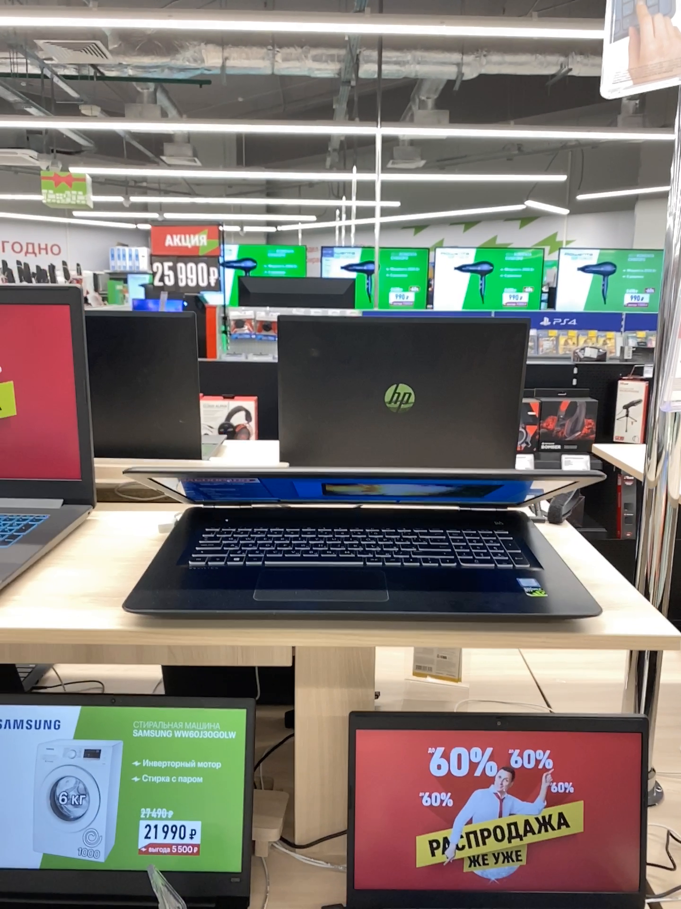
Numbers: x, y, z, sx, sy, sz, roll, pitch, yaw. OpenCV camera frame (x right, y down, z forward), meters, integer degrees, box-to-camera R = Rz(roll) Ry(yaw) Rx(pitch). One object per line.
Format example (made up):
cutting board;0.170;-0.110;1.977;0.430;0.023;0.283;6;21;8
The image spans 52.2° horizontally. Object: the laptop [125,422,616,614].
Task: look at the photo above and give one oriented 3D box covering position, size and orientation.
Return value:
laptop;0.020;0.047;0.699;0.396;0.103;0.264;1;14;0
